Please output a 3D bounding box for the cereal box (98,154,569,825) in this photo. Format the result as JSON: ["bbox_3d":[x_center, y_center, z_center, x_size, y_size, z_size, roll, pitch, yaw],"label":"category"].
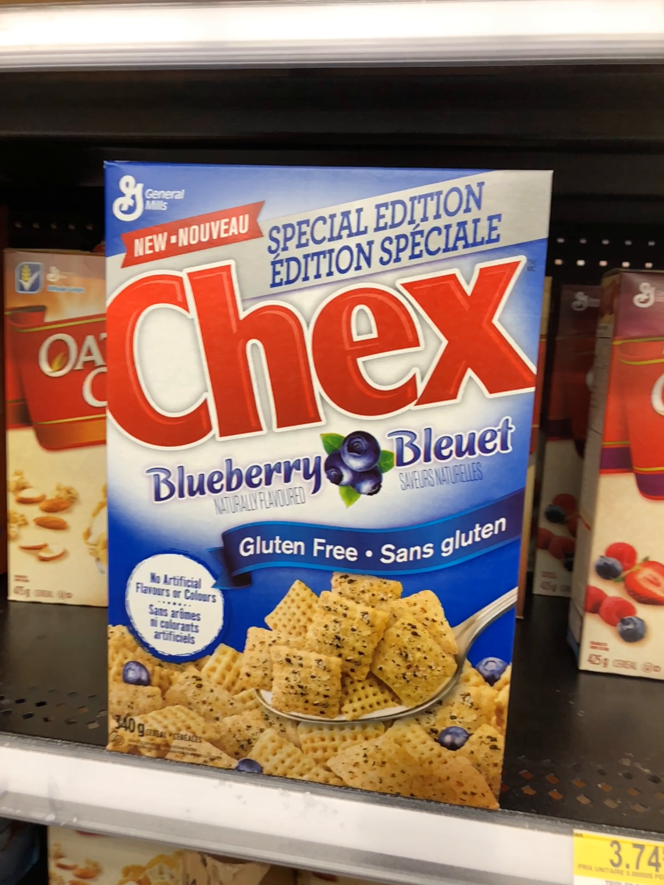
[{"bbox_3d":[-0.006,0.018,0.358,0.200,0.289,0.060,4,9,10],"label":"cereal box"}]
